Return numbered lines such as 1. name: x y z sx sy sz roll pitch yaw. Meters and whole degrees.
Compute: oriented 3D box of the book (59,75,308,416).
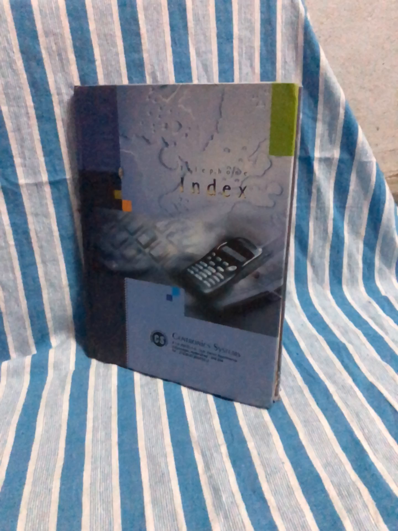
1. book: -0.022 -0.017 0.361 0.193 0.252 0.023 10 20 23
